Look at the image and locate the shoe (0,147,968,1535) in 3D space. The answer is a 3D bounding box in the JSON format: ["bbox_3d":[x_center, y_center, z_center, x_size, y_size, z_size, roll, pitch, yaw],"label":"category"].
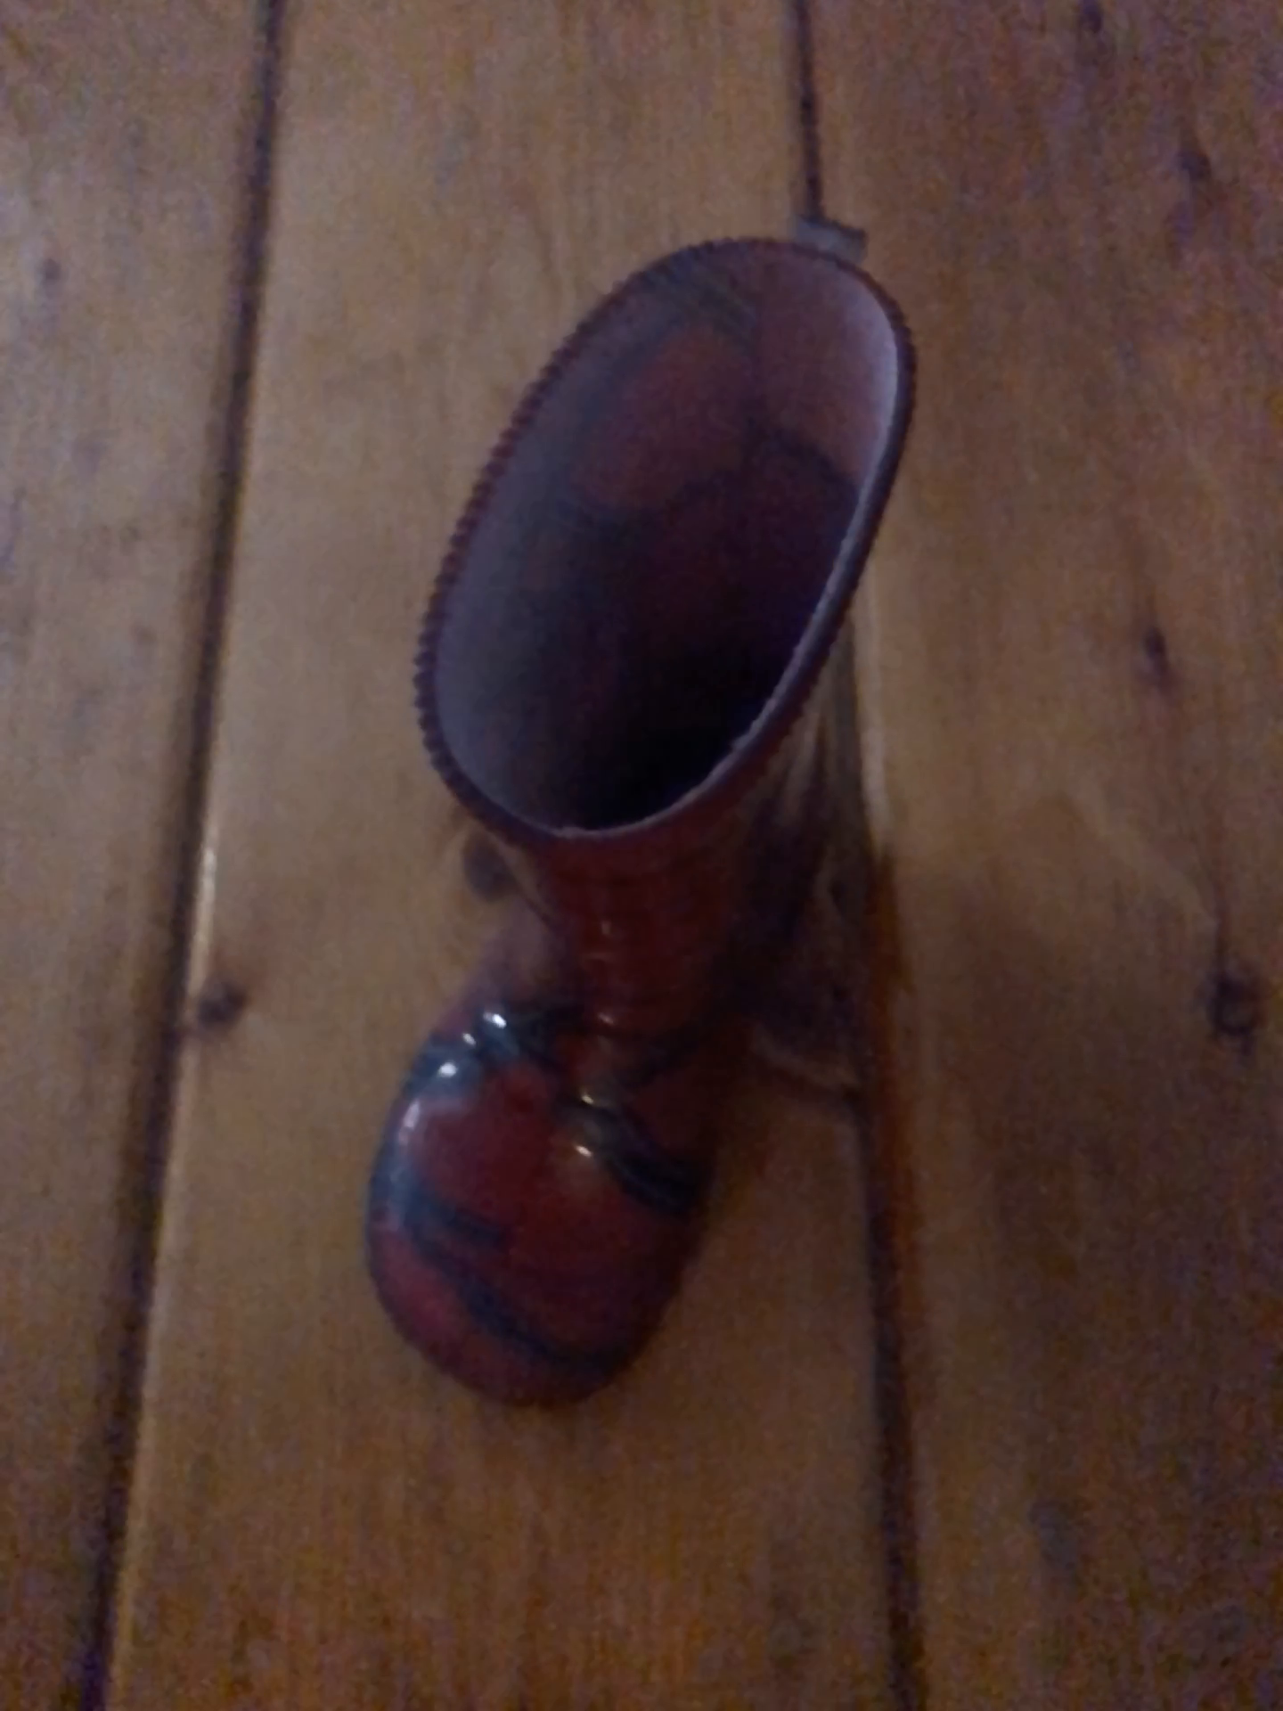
[{"bbox_3d":[-0.020,0.013,0.251,0.080,0.170,0.160,22,73,14],"label":"shoe"}]
